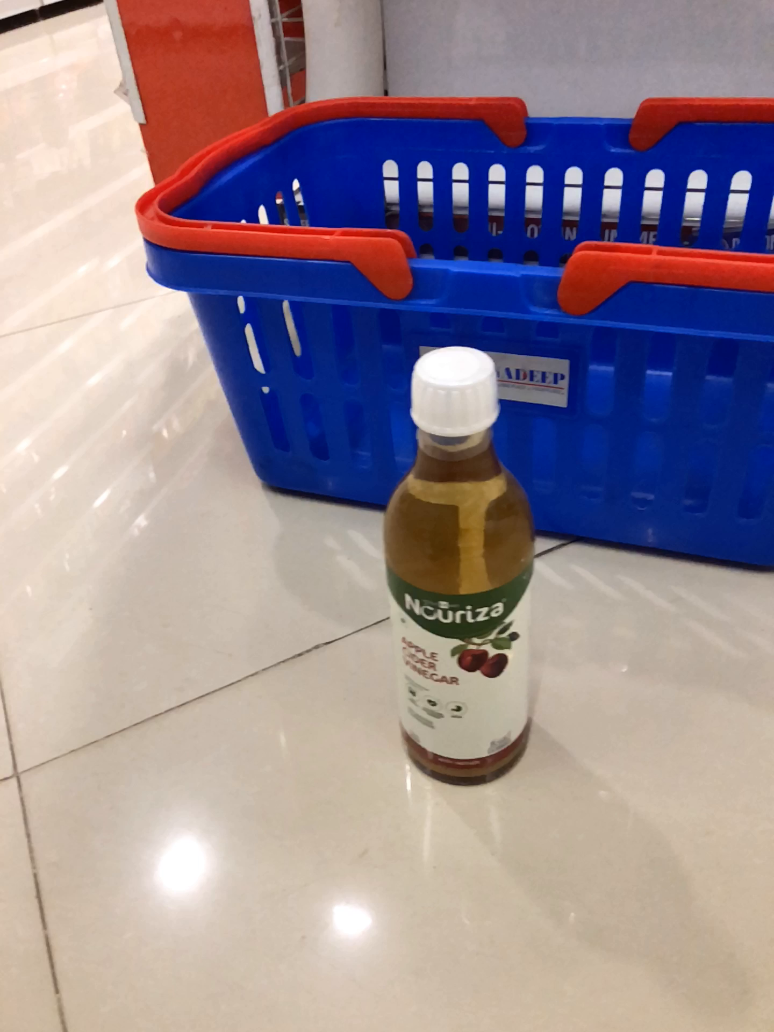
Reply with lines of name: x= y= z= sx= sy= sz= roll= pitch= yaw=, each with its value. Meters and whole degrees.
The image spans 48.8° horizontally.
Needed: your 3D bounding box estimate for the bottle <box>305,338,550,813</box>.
bottle: x=0.026 y=0.036 z=0.398 sx=0.080 sy=0.219 sz=0.070 roll=7 pitch=39 yaw=16
